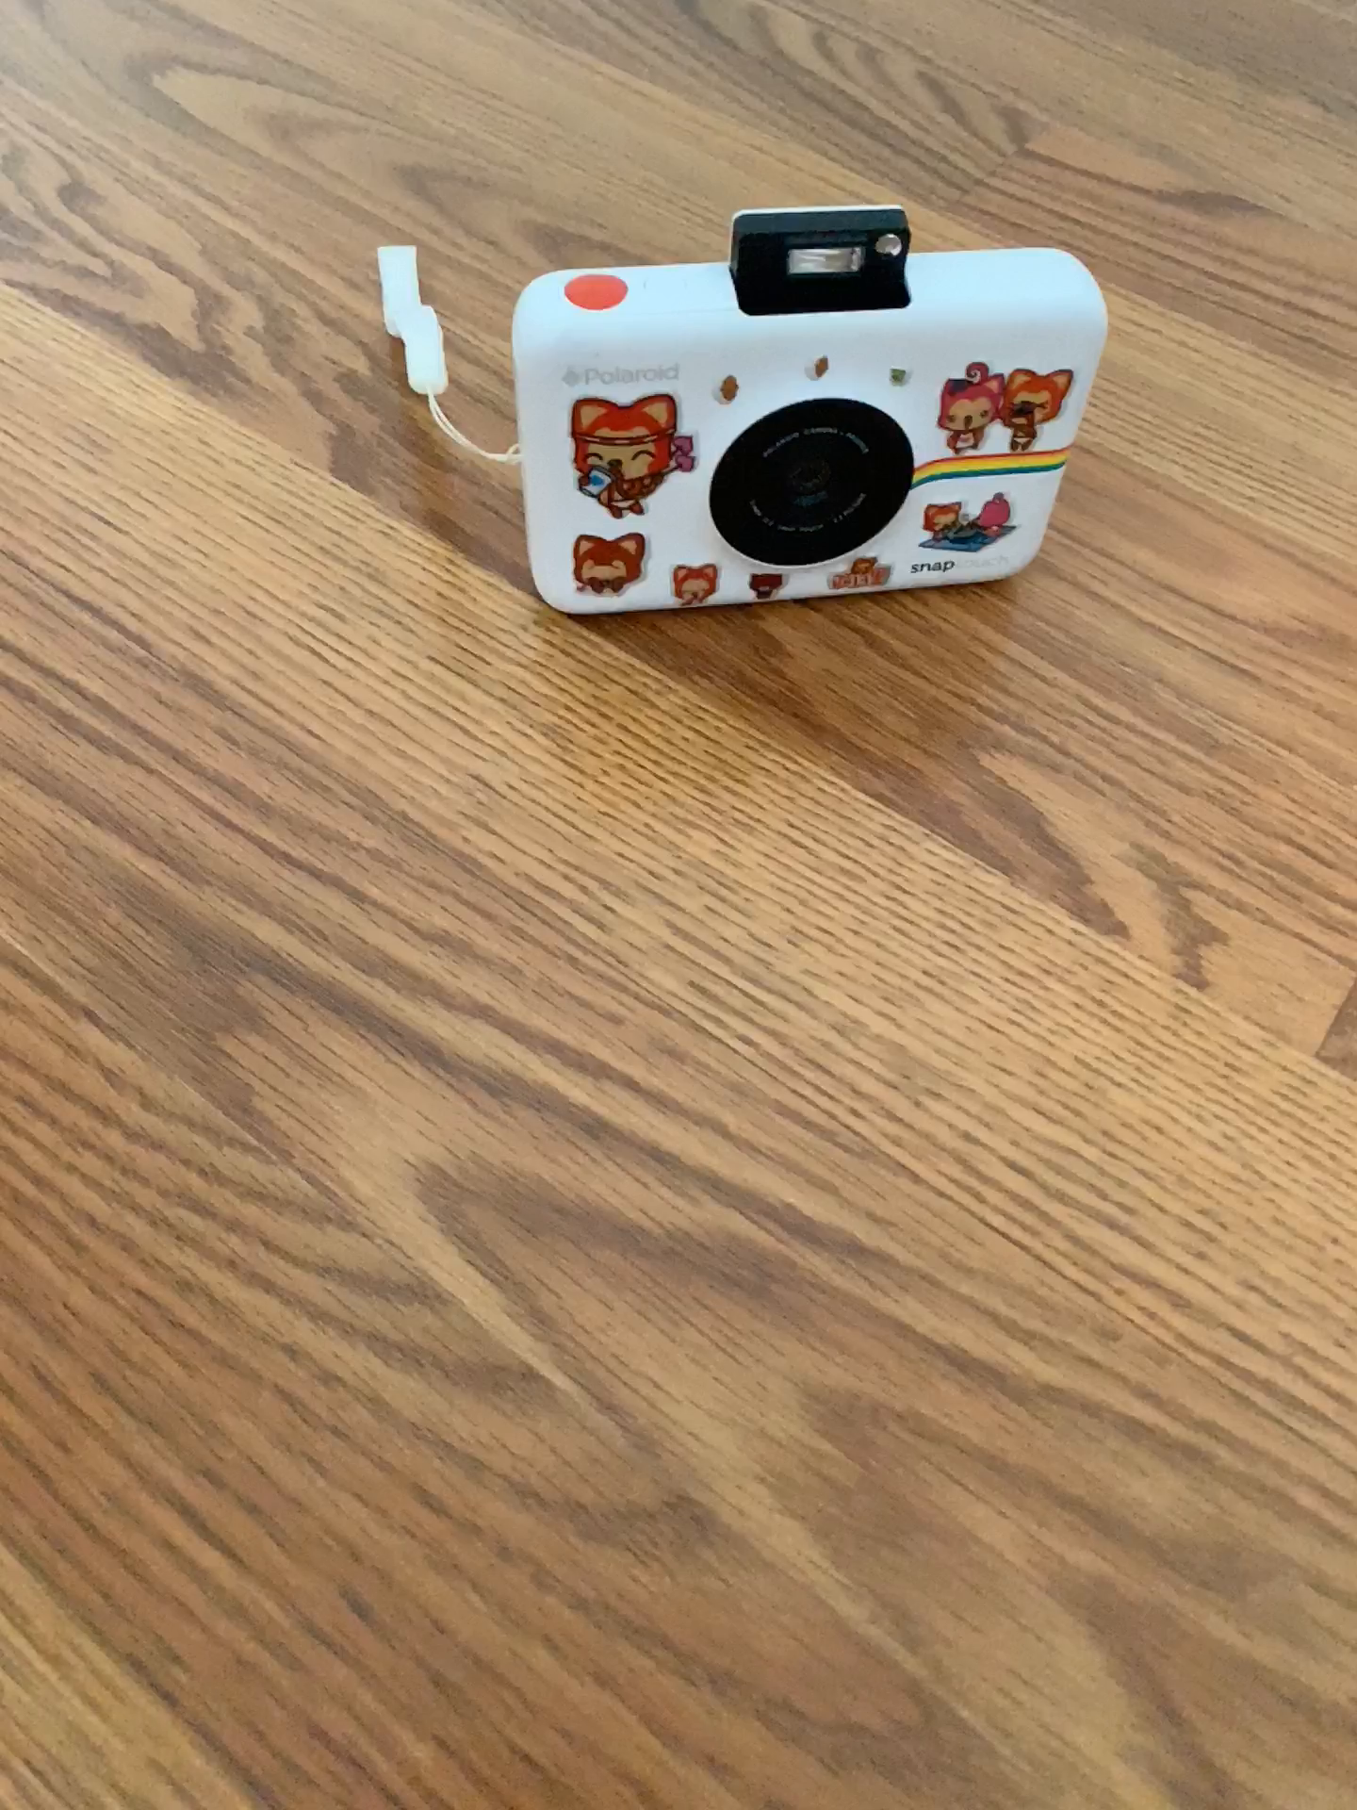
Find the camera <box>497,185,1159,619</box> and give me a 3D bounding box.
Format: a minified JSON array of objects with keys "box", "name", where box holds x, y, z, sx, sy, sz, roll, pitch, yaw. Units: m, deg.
[{"box":[0.028,-0.106,0.304,0.125,0.081,0.026,-6,57,-6],"name":"camera"}]
